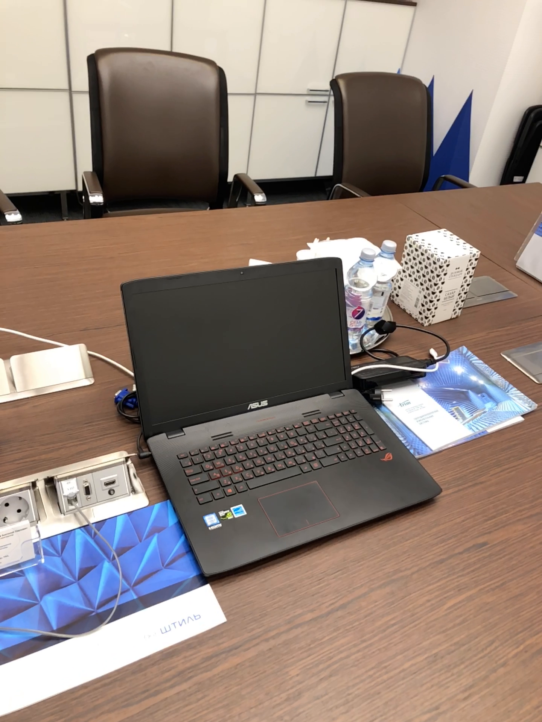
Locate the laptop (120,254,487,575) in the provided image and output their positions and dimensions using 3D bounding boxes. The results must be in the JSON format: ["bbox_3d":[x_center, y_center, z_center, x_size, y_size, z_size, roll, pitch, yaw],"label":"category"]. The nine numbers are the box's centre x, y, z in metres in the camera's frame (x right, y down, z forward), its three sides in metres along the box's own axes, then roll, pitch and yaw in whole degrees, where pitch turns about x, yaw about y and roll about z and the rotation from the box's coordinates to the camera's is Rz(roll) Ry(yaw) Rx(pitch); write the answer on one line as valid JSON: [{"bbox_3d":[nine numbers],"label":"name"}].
[{"bbox_3d":[0.019,0.038,0.873,0.380,0.194,0.369,-11,42,-26],"label":"laptop"}]
